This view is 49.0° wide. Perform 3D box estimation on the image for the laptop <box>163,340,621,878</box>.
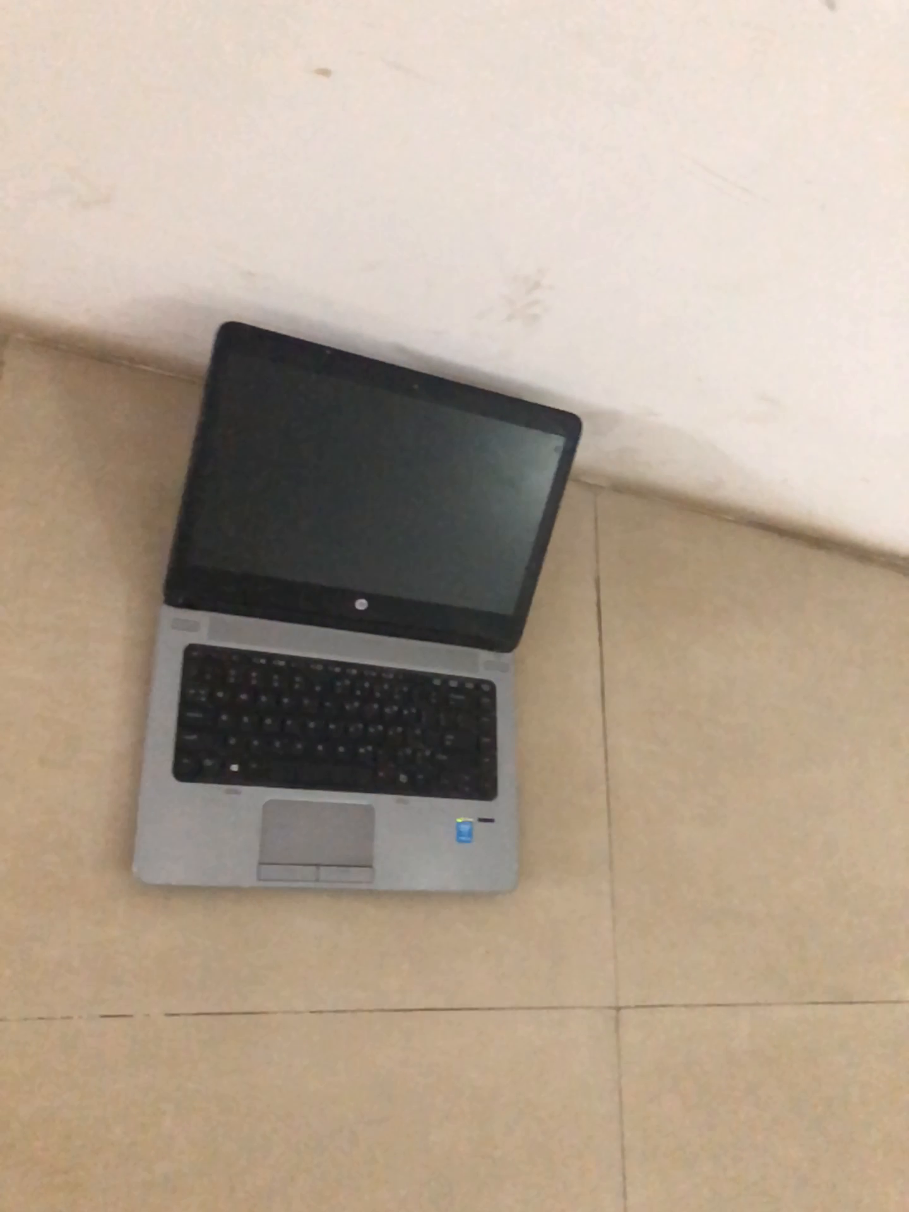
[{"bbox_3d":[-0.050,0.019,0.833,0.318,0.146,0.386,10,66,-27],"label":"laptop"}]
